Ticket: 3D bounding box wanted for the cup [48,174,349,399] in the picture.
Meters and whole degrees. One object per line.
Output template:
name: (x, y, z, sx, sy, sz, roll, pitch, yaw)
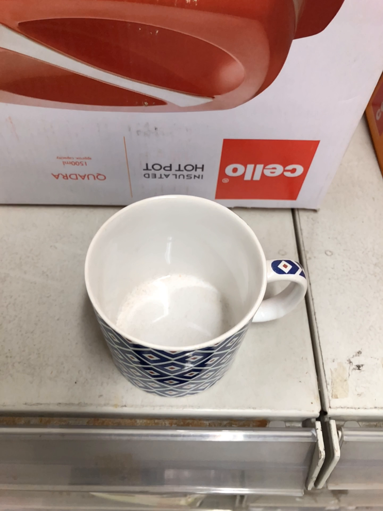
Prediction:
cup: (0.002, 0.019, 0.212, 0.110, 0.080, 0.080, 2, 58, -3)
